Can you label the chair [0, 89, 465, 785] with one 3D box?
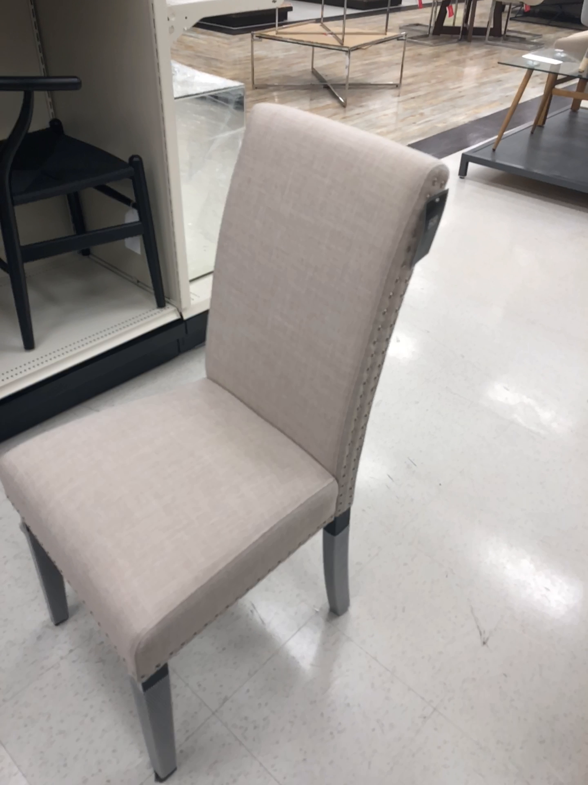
[{"bbox_3d":[-0.165,0.098,1.118,0.557,1.006,0.488,-27,45,-33],"label":"chair"}]
